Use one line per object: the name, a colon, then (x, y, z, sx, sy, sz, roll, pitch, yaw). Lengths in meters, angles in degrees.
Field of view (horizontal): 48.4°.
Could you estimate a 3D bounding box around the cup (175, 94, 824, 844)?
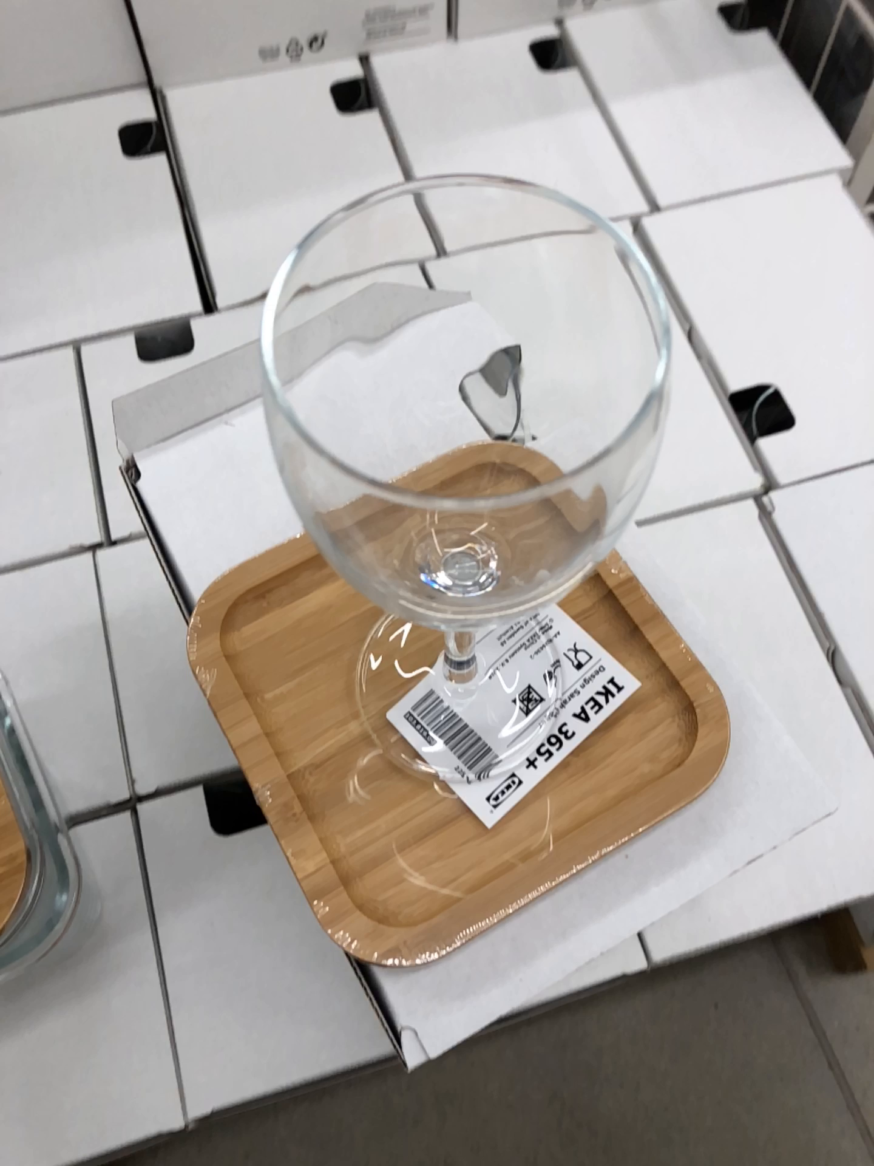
cup: (0.007, -0.005, 0.238, 0.080, 0.180, 0.080, 0, 65, 0)
